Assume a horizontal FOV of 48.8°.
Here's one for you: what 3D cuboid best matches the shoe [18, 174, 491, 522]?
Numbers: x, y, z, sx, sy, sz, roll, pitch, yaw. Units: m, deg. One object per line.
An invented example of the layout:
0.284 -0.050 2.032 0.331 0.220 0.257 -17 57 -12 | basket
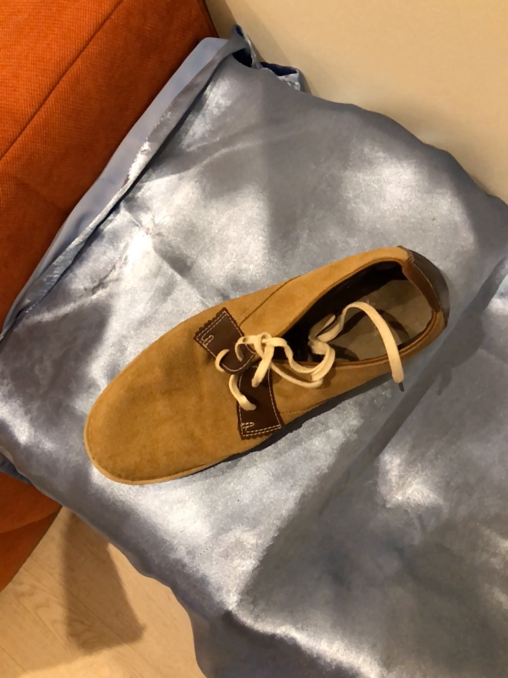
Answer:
-0.001 0.014 0.436 0.300 0.120 0.120 -25 79 5 | shoe
